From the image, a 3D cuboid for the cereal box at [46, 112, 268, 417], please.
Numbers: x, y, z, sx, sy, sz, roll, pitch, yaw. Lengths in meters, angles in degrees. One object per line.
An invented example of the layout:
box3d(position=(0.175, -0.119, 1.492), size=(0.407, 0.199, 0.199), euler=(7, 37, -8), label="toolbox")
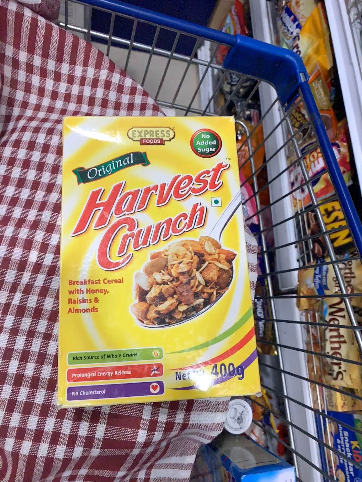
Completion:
box3d(position=(-0.021, 0.011, 0.298), size=(0.150, 0.050, 0.220), euler=(-2, 79, -4), label="cereal box")
